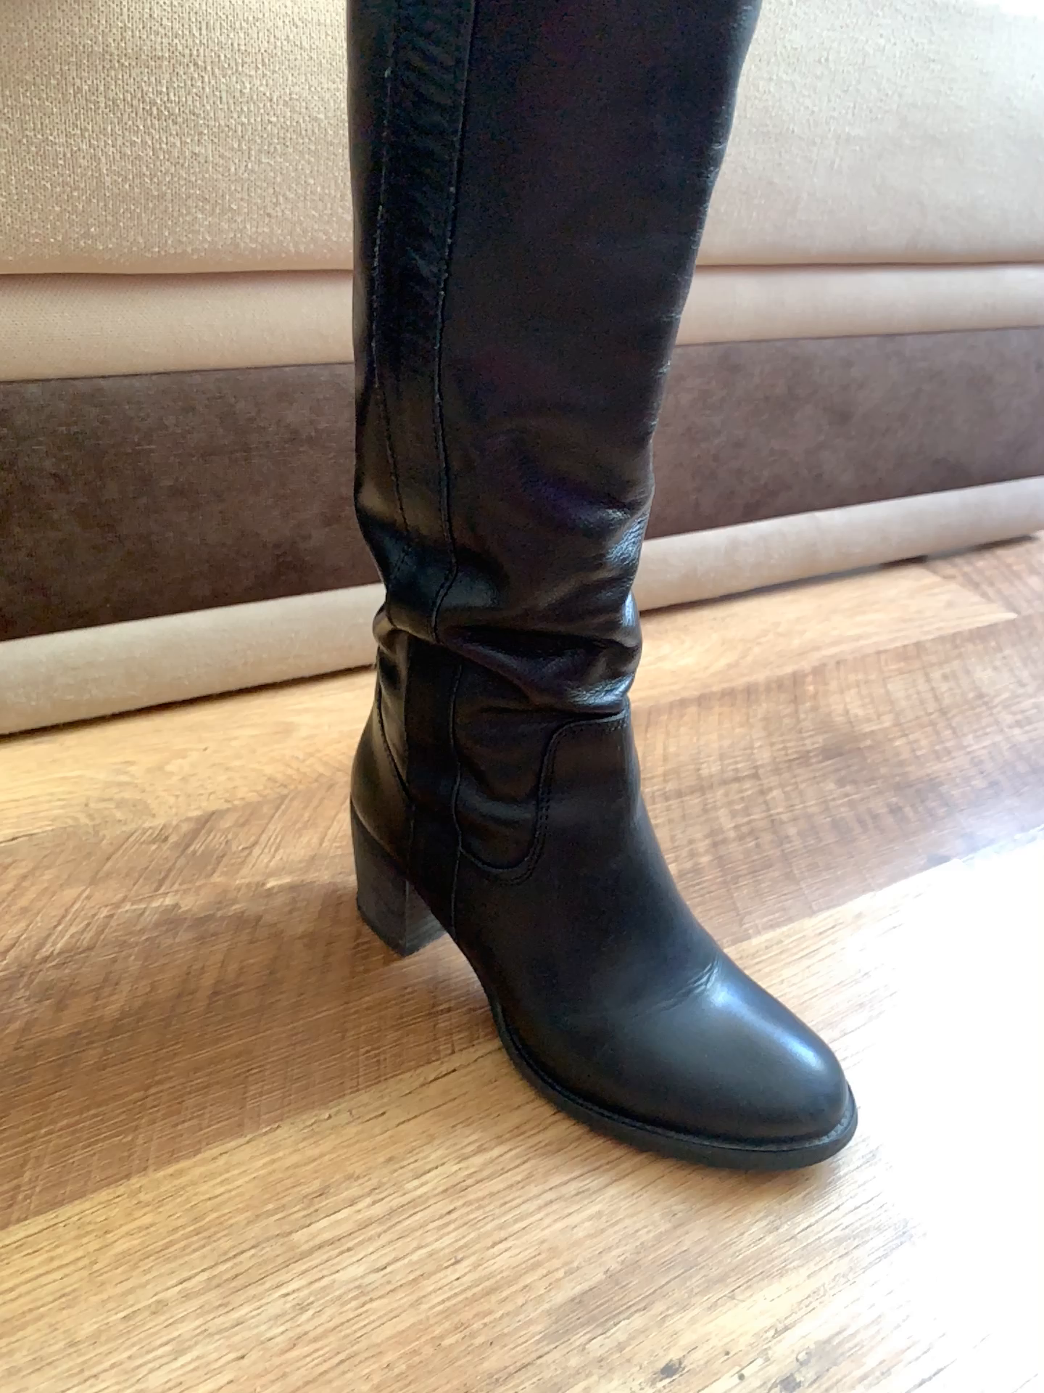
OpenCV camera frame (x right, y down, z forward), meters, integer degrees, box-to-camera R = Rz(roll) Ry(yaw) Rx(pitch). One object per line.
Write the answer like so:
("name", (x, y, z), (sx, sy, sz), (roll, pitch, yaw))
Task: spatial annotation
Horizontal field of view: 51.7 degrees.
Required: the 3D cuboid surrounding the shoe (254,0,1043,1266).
("shoe", (0.047, -0.095, 0.295), (0.210, 0.497, 0.100), (23, 34, 28))
